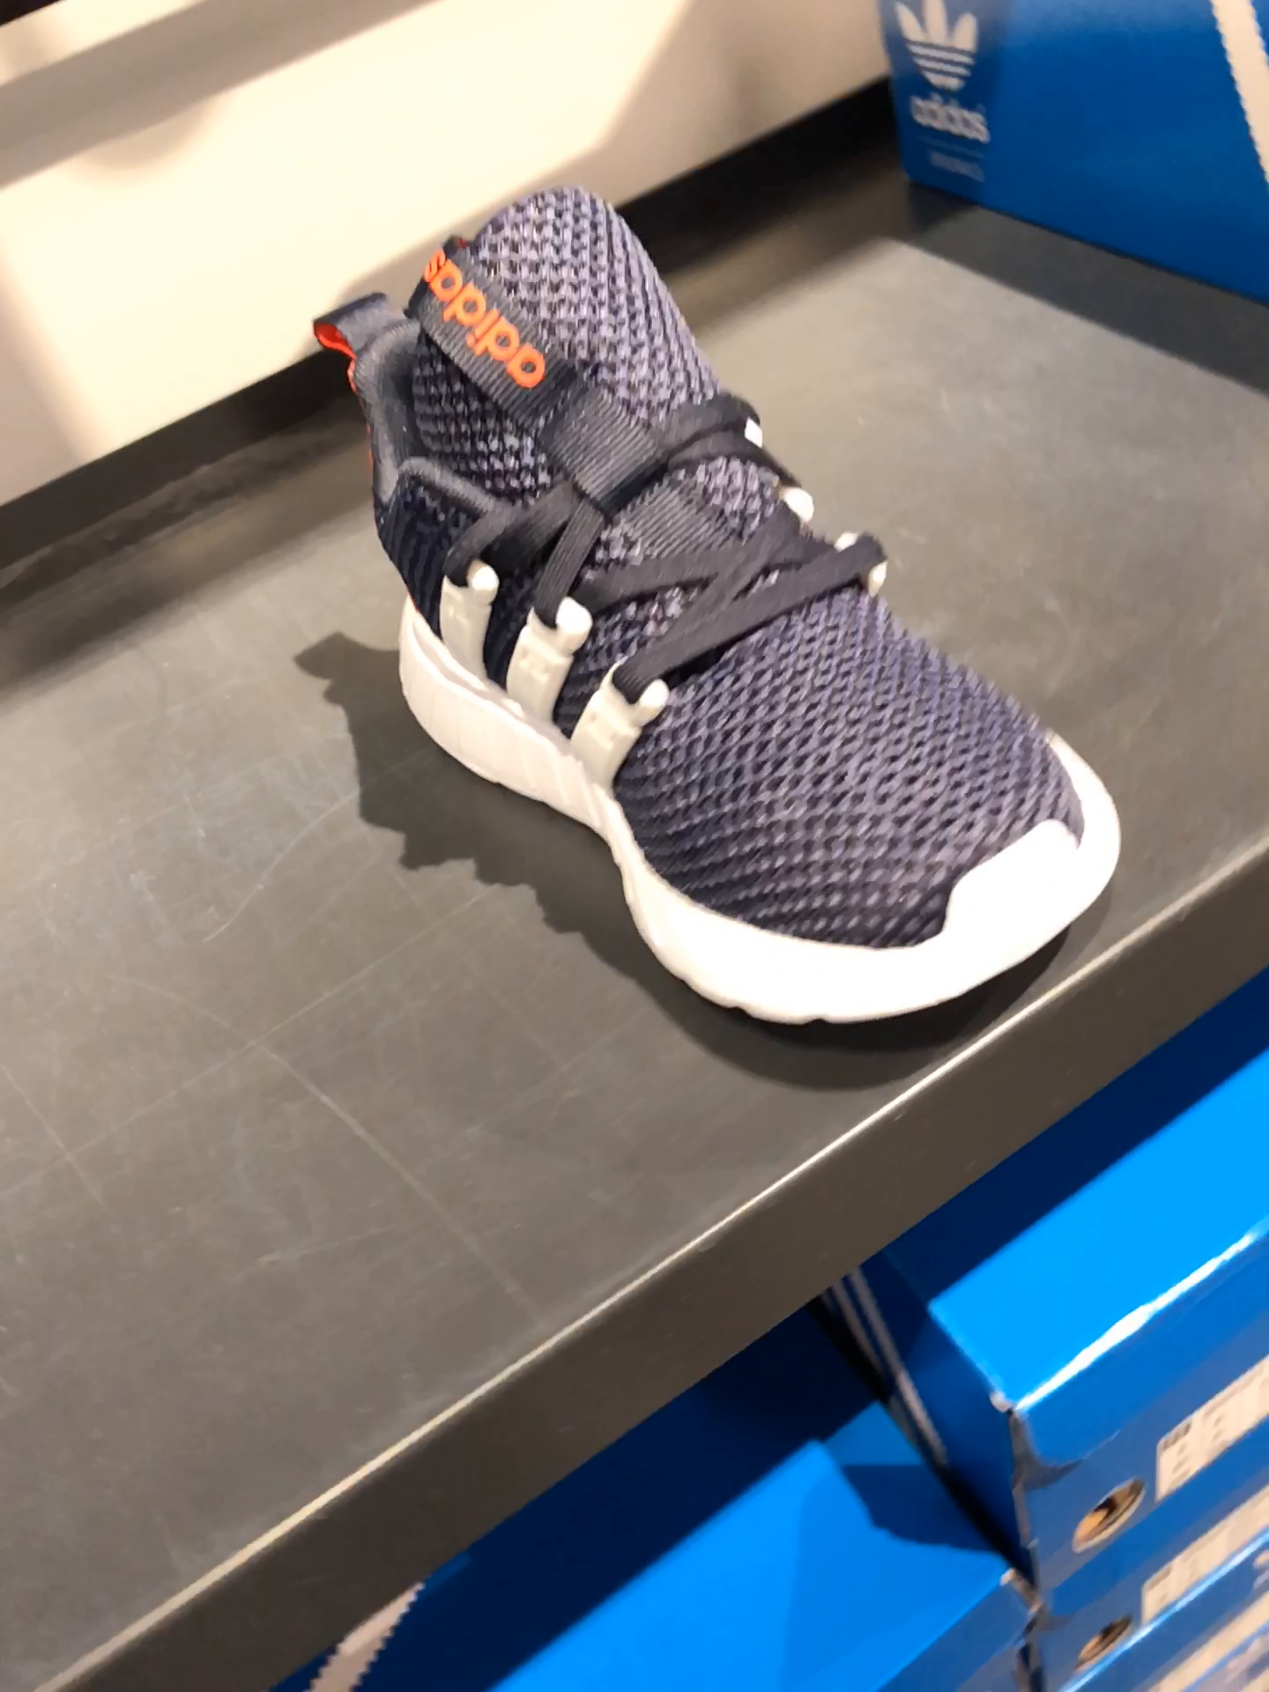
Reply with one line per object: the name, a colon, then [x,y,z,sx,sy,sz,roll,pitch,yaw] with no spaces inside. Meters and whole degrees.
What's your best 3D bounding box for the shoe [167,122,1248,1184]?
shoe: [0.003,-0.056,0.272,0.090,0.110,0.201,-32,40,-14]
